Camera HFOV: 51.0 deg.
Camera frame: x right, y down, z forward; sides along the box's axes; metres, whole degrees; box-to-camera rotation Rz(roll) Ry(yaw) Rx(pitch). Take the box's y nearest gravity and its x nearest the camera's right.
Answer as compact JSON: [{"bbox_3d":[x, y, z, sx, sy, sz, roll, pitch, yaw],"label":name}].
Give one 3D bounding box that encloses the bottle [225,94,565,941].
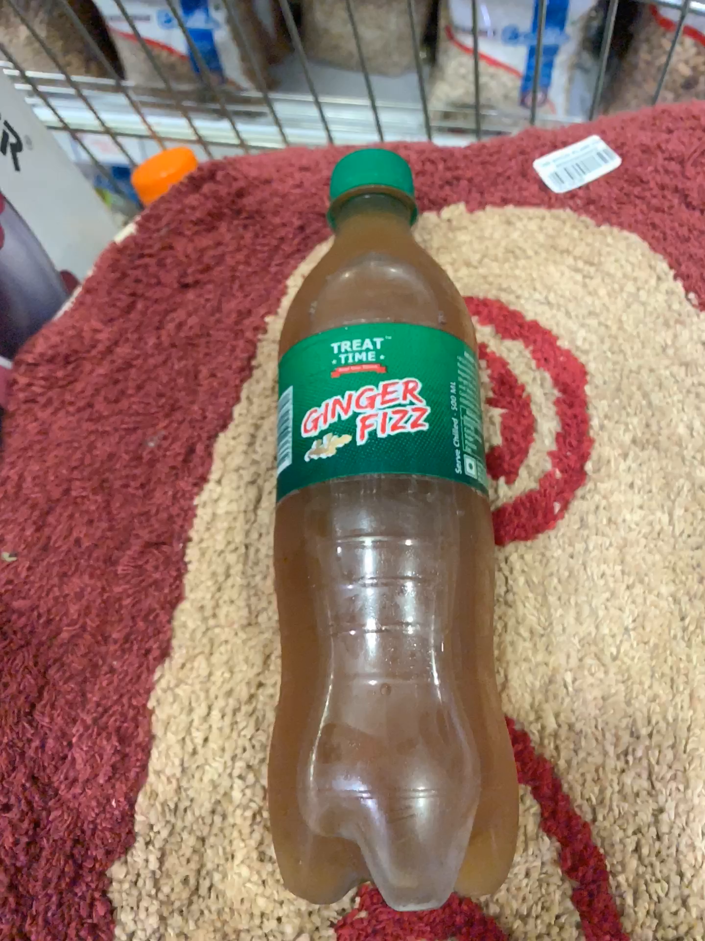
[{"bbox_3d":[0.010,0.005,0.220,0.070,0.070,0.220,-2,72,3],"label":"bottle"}]
